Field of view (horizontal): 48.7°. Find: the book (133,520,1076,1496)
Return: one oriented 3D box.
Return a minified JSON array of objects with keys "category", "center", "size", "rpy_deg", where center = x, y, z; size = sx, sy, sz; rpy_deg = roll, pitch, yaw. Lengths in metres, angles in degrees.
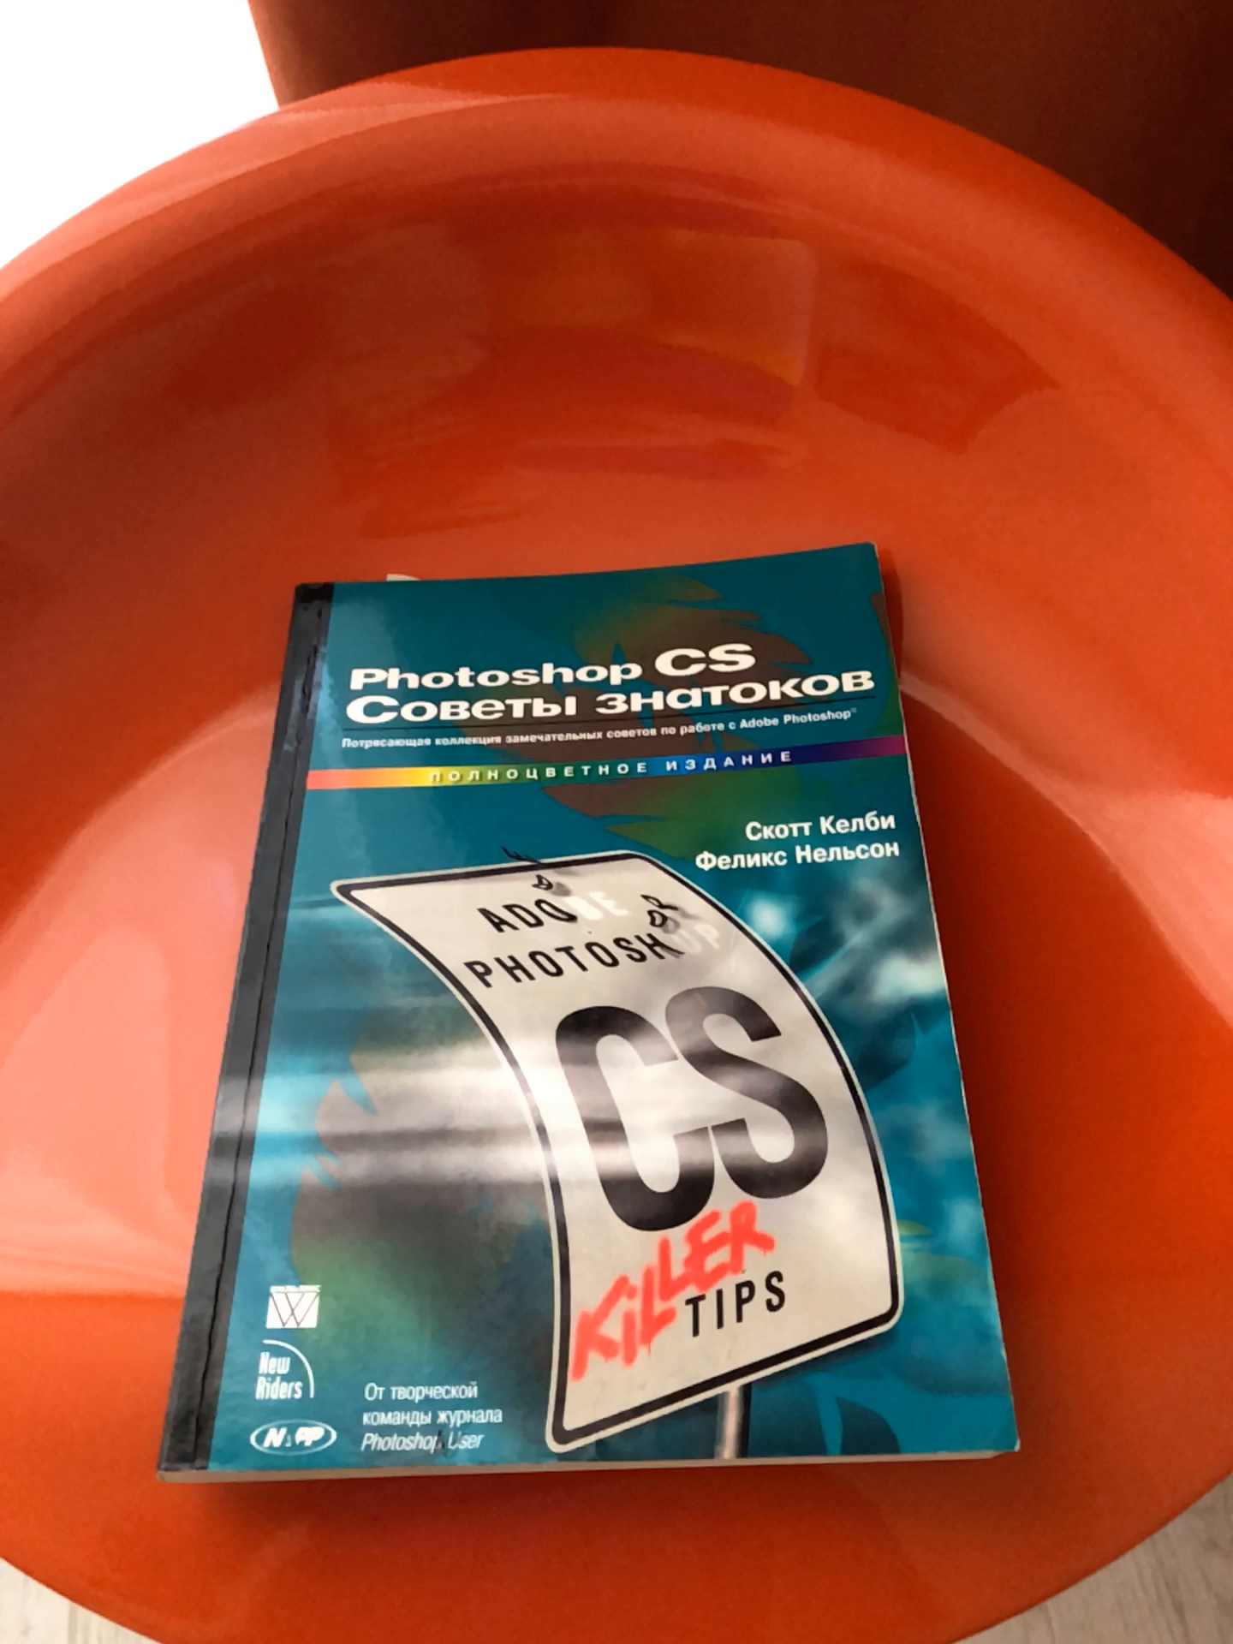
[{"category":"book","center":[-0.005,0.027,0.329],"size":[0.174,0.030,0.237],"rpy_deg":[-4,55,3]}]
